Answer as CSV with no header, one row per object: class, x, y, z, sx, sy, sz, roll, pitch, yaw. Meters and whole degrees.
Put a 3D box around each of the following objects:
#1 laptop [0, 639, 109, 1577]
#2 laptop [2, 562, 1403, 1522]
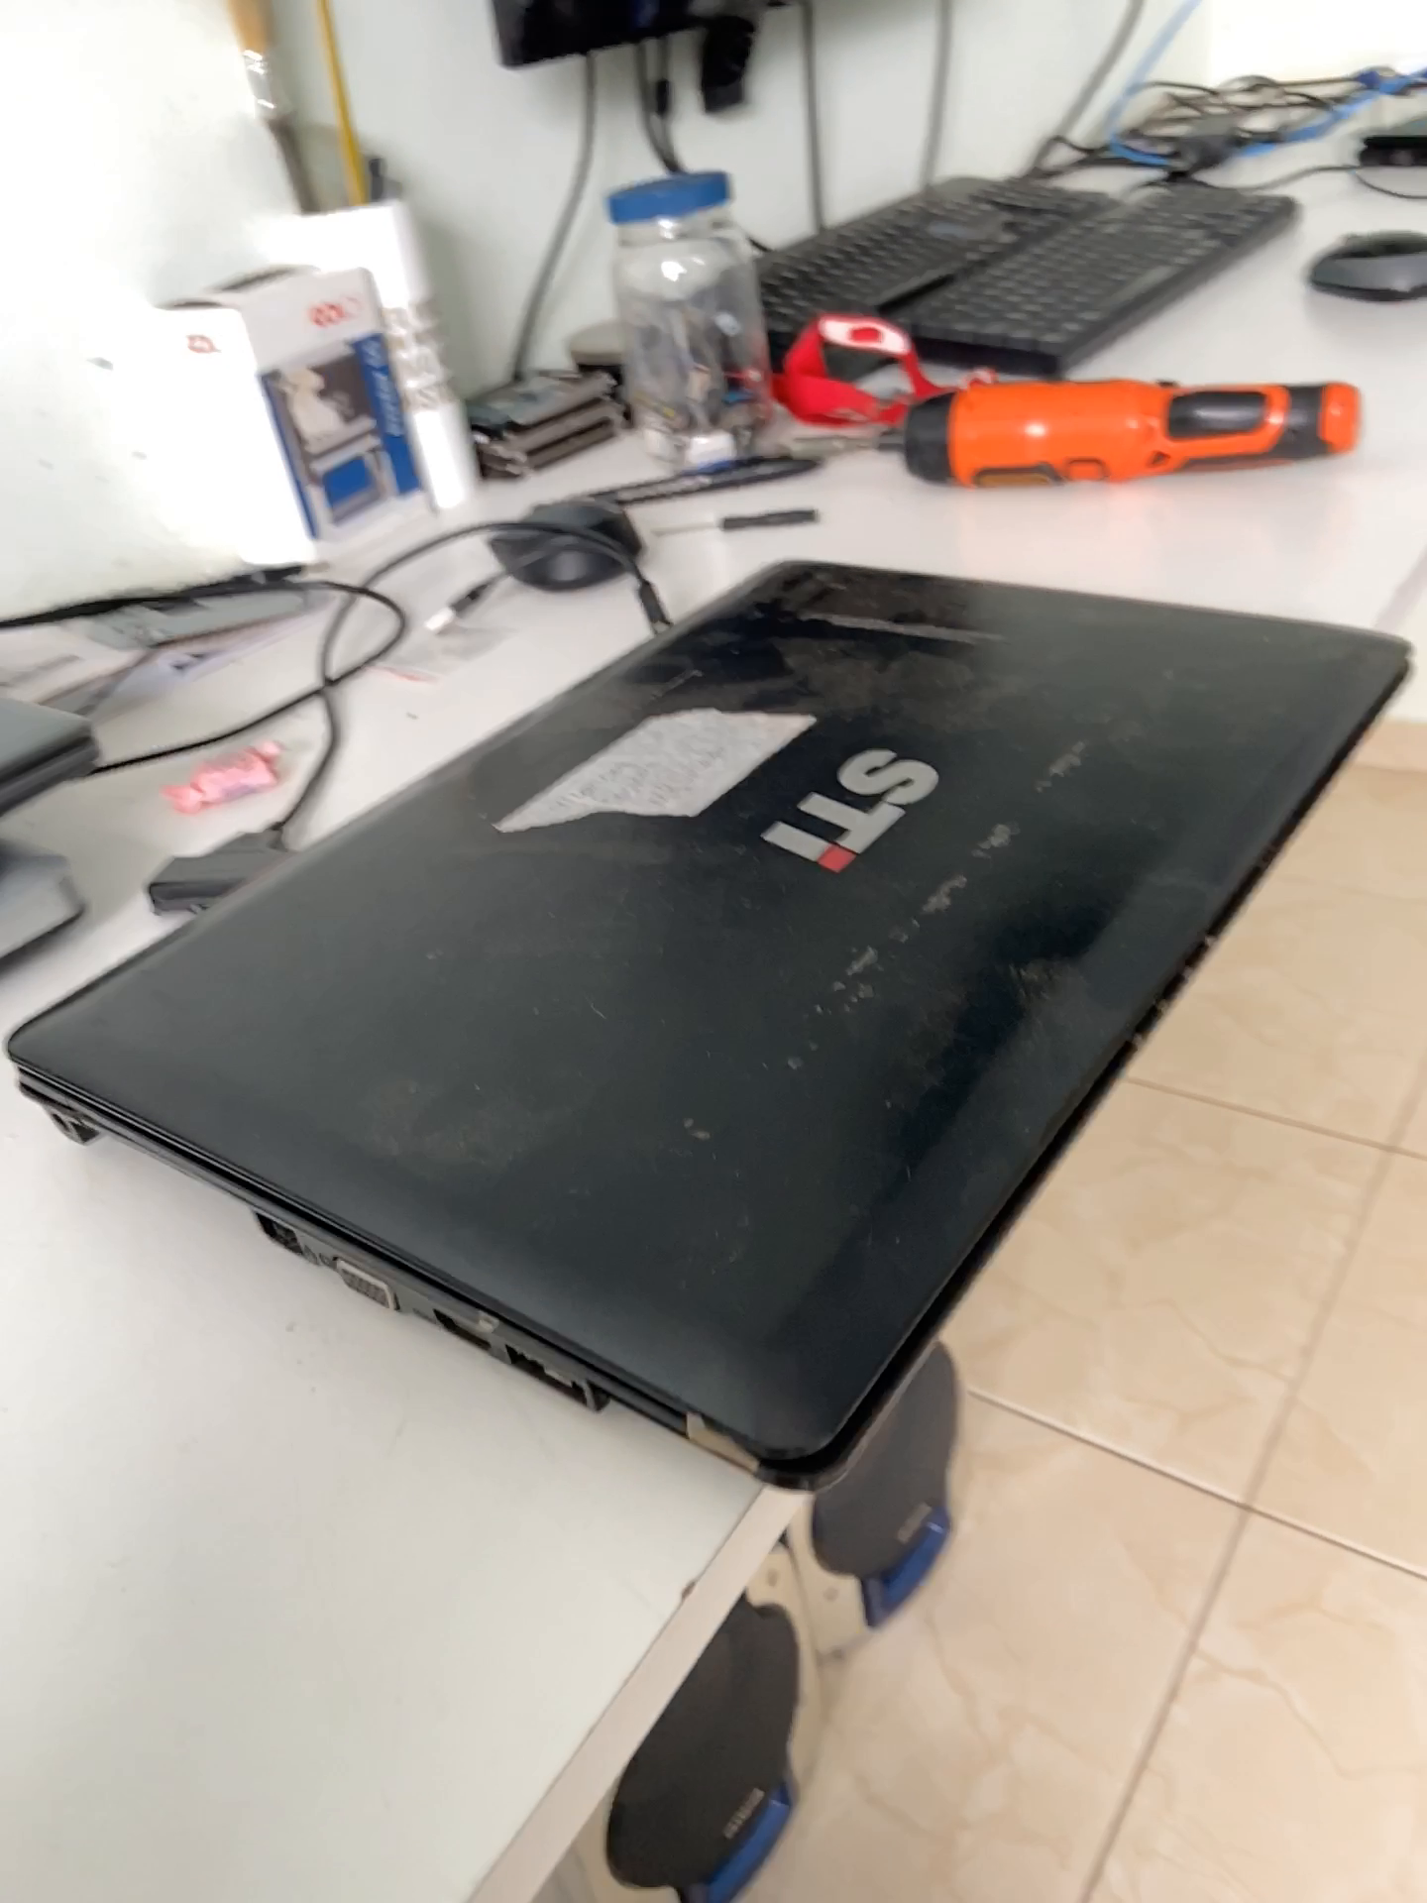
laptop,-0.379,-0.013,0.404,0.227,0.006,0.345,13,37,30
laptop,0.020,-0.029,0.403,0.230,0.011,0.338,18,41,32
